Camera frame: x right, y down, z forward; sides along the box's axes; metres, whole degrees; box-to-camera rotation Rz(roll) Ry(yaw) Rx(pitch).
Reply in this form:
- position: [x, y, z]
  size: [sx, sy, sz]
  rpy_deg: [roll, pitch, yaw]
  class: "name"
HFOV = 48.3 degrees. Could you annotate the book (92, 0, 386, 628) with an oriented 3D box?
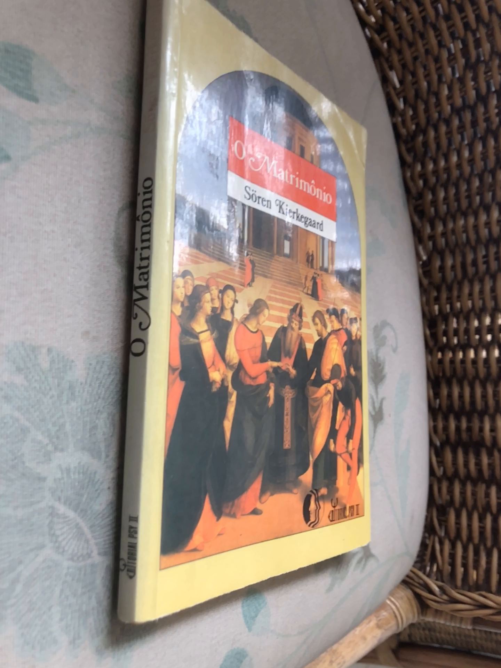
- position: [0.011, -0.012, 0.221]
  size: [0.141, 0.020, 0.200]
  rpy_deg: [11, 78, -49]
  class: "book"
